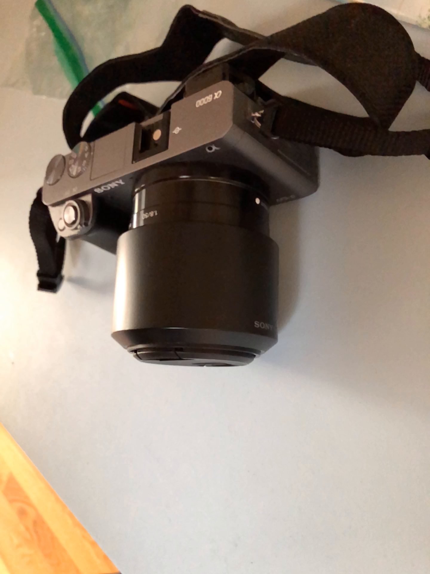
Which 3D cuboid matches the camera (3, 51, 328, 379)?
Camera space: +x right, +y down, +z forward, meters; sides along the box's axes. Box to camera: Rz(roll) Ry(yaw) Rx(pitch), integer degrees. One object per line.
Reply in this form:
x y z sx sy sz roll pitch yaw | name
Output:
-0.025 -0.015 0.223 0.130 0.070 0.110 -8 75 38 | camera
